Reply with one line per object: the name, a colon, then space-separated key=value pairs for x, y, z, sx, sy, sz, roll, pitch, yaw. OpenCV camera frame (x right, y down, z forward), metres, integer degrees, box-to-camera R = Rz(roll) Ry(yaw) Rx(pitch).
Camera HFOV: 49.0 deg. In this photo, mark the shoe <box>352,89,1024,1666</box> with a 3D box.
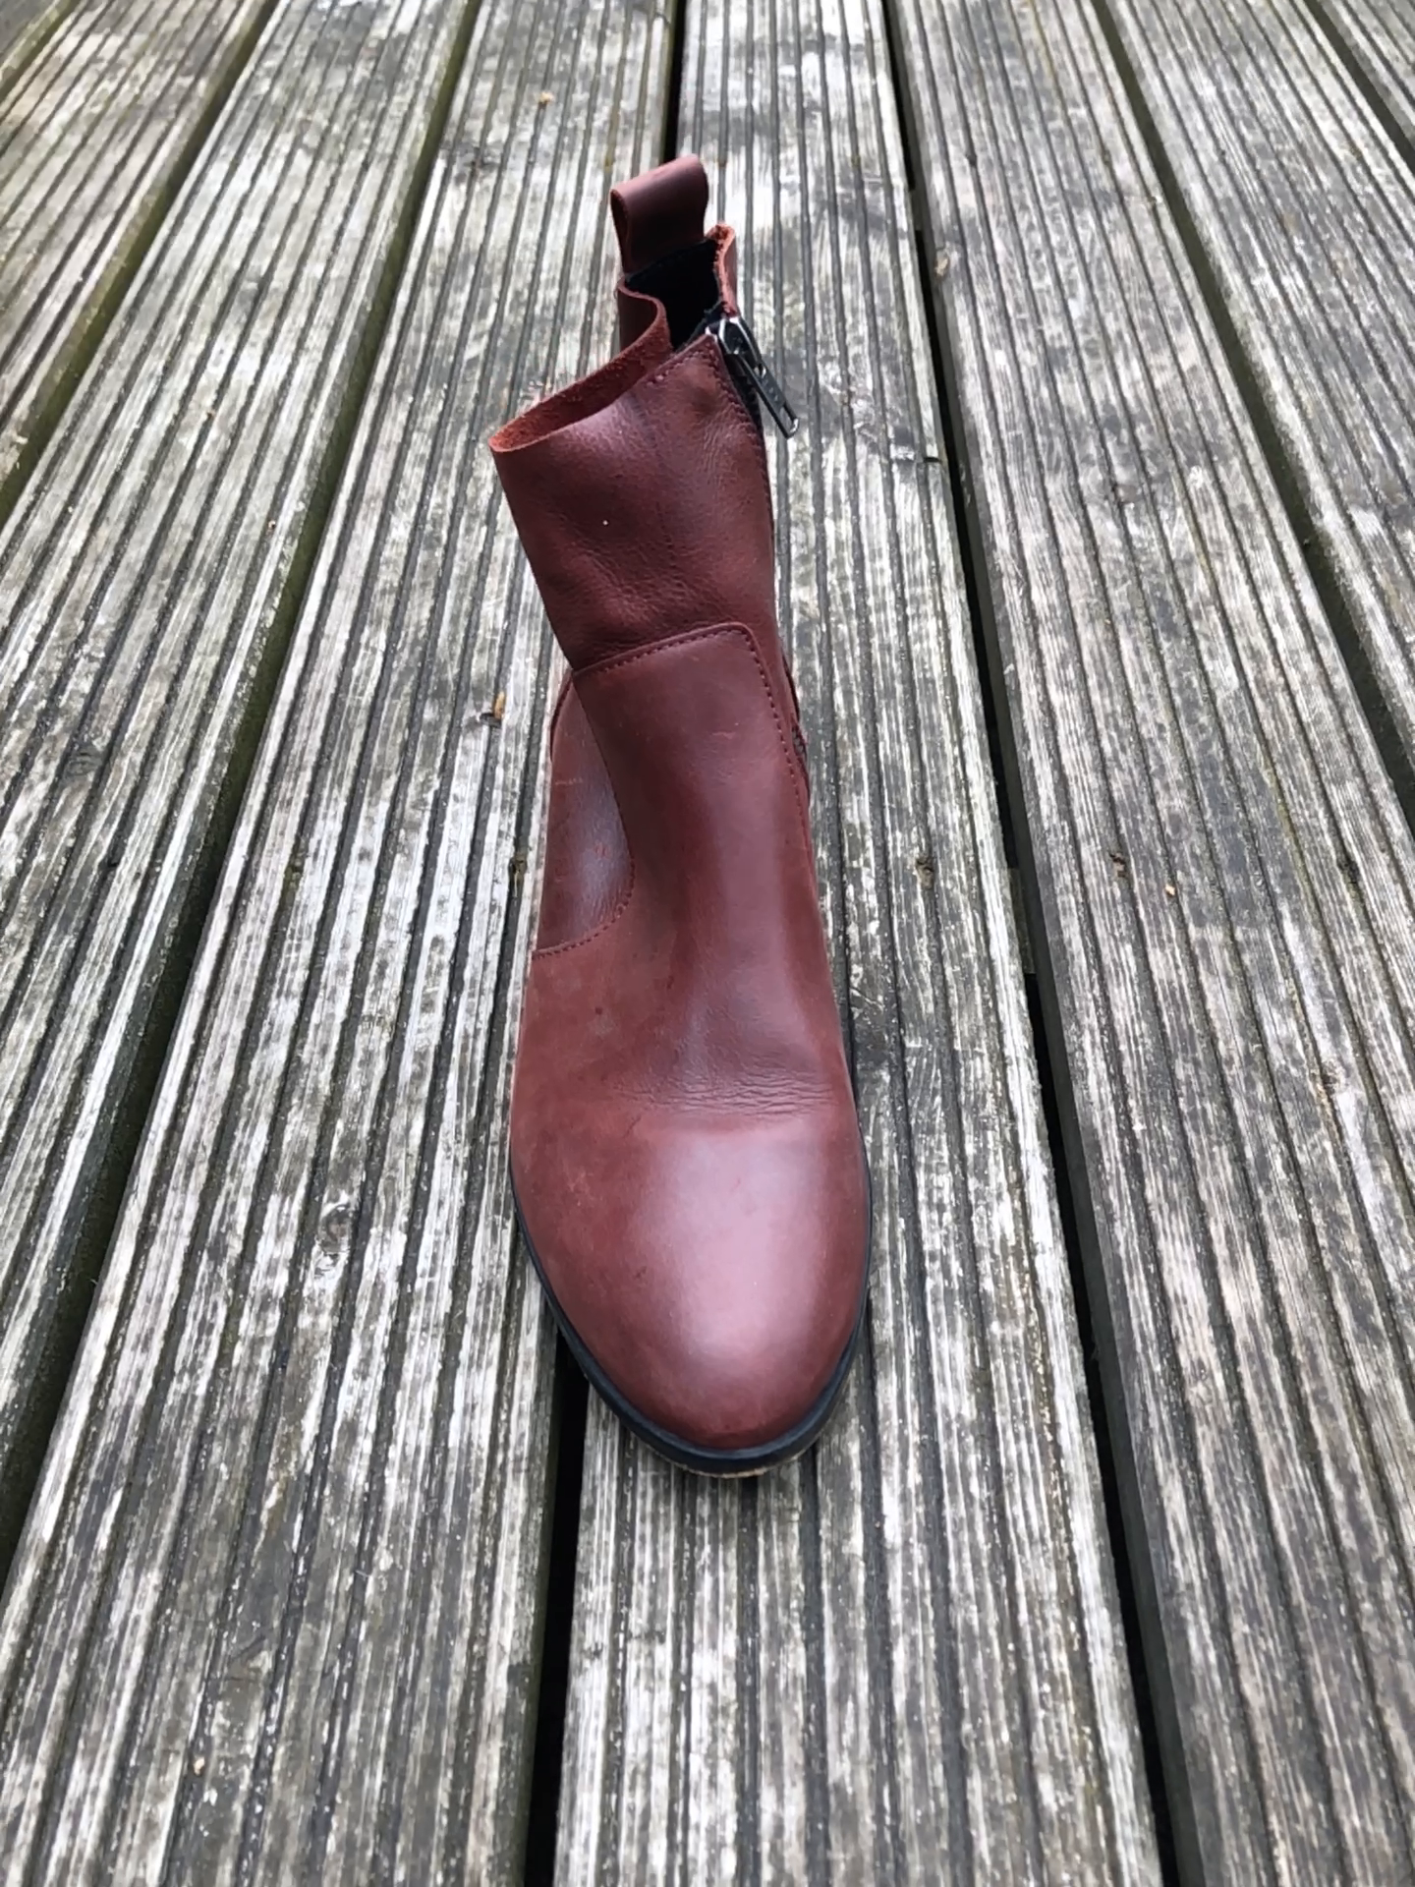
shoe: x=0.006 y=-0.027 z=0.409 sx=0.090 sy=0.239 sz=0.342 roll=0 pitch=50 yaw=3
